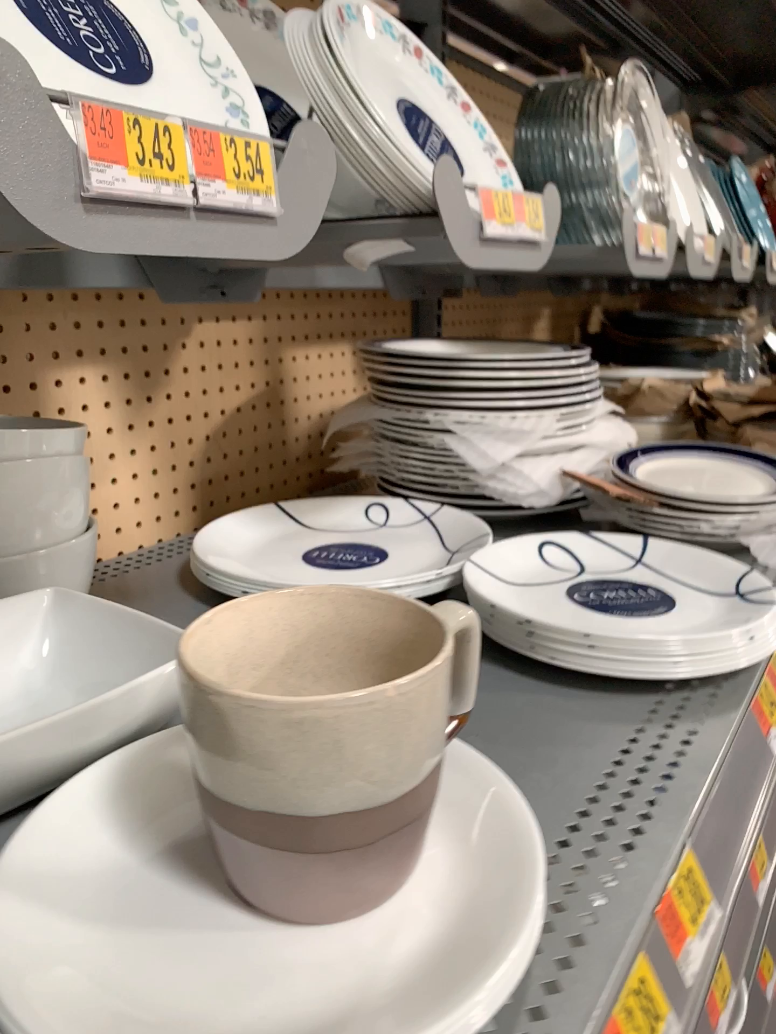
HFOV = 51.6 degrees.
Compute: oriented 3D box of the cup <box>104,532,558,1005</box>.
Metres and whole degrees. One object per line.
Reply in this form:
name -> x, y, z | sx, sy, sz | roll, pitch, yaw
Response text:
cup -> -0.015, 0.078, 0.315 | 0.107, 0.096, 0.138 | 11, 19, 34
